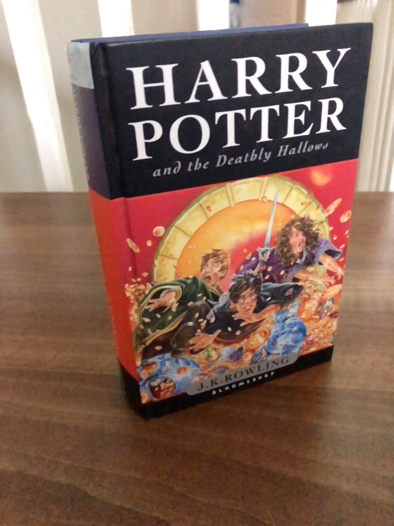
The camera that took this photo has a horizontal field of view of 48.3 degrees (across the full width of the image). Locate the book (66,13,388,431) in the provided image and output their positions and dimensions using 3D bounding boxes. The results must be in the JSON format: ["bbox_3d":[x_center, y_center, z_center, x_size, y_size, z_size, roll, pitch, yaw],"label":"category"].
[{"bbox_3d":[0.017,-0.021,0.256,0.140,0.209,0.060,-12,28,-16],"label":"book"}]
